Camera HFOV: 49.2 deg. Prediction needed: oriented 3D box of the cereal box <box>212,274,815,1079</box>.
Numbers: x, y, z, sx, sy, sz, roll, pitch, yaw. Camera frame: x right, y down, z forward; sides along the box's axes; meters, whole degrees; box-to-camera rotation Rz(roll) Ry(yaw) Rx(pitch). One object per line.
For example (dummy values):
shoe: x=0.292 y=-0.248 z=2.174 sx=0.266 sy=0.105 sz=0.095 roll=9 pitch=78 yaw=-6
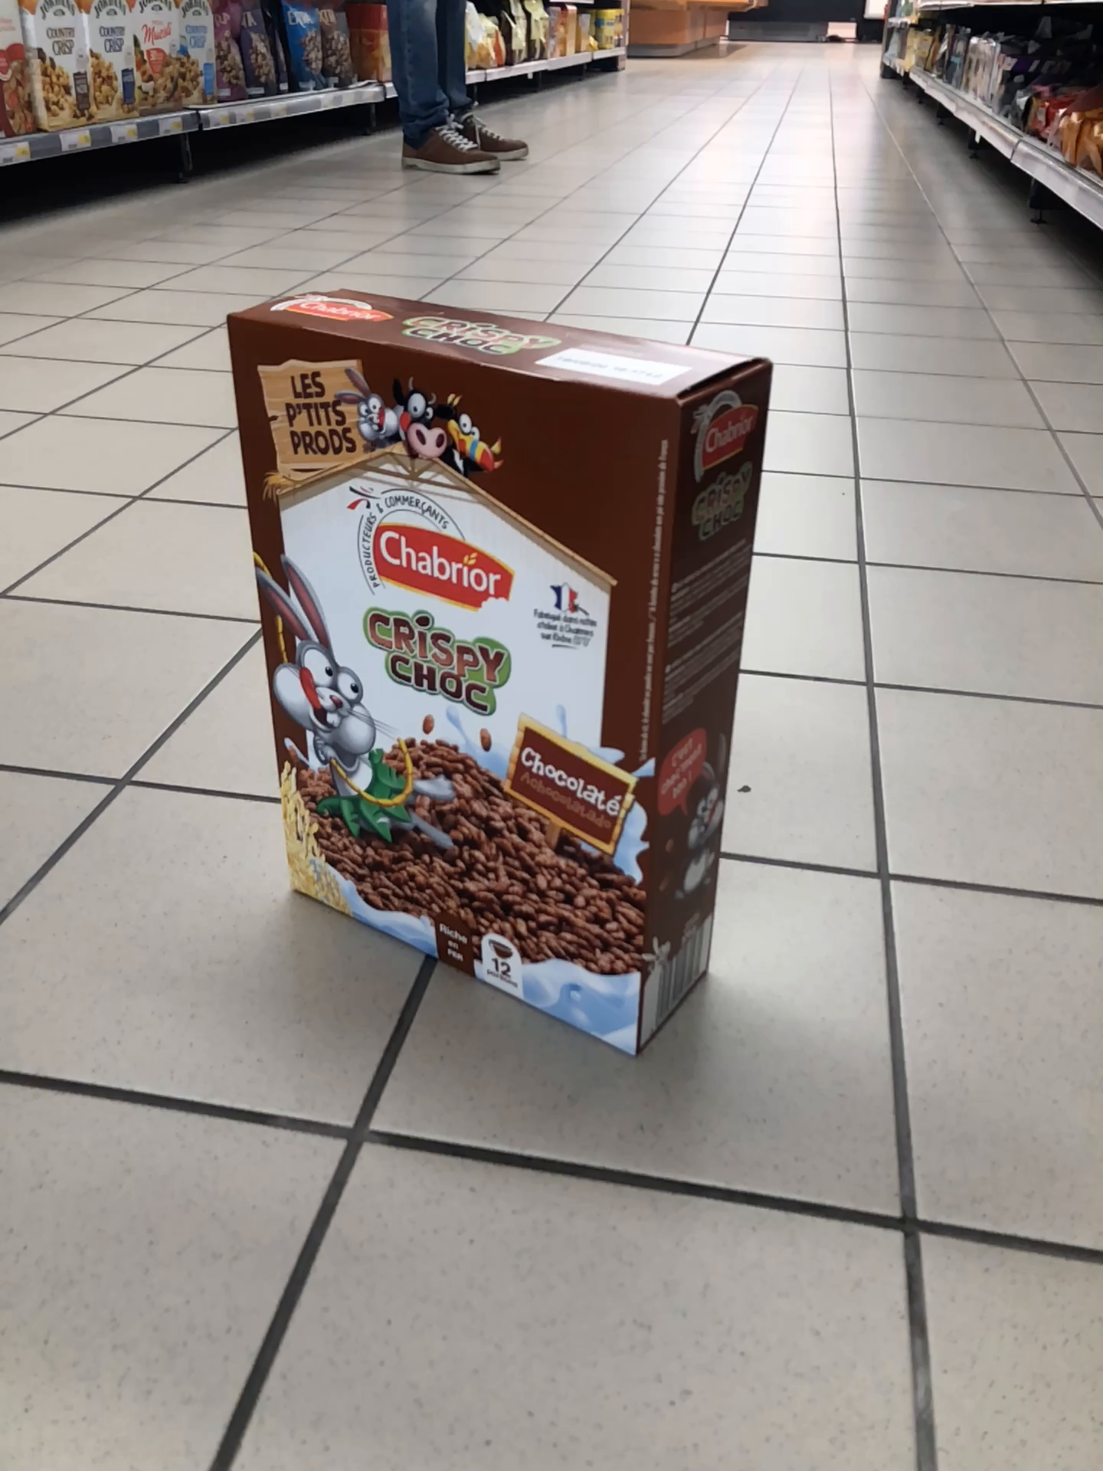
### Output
cereal box: x=-0.023 y=-0.027 z=0.485 sx=0.210 sy=0.268 sz=0.070 roll=20 pitch=35 yaw=30
